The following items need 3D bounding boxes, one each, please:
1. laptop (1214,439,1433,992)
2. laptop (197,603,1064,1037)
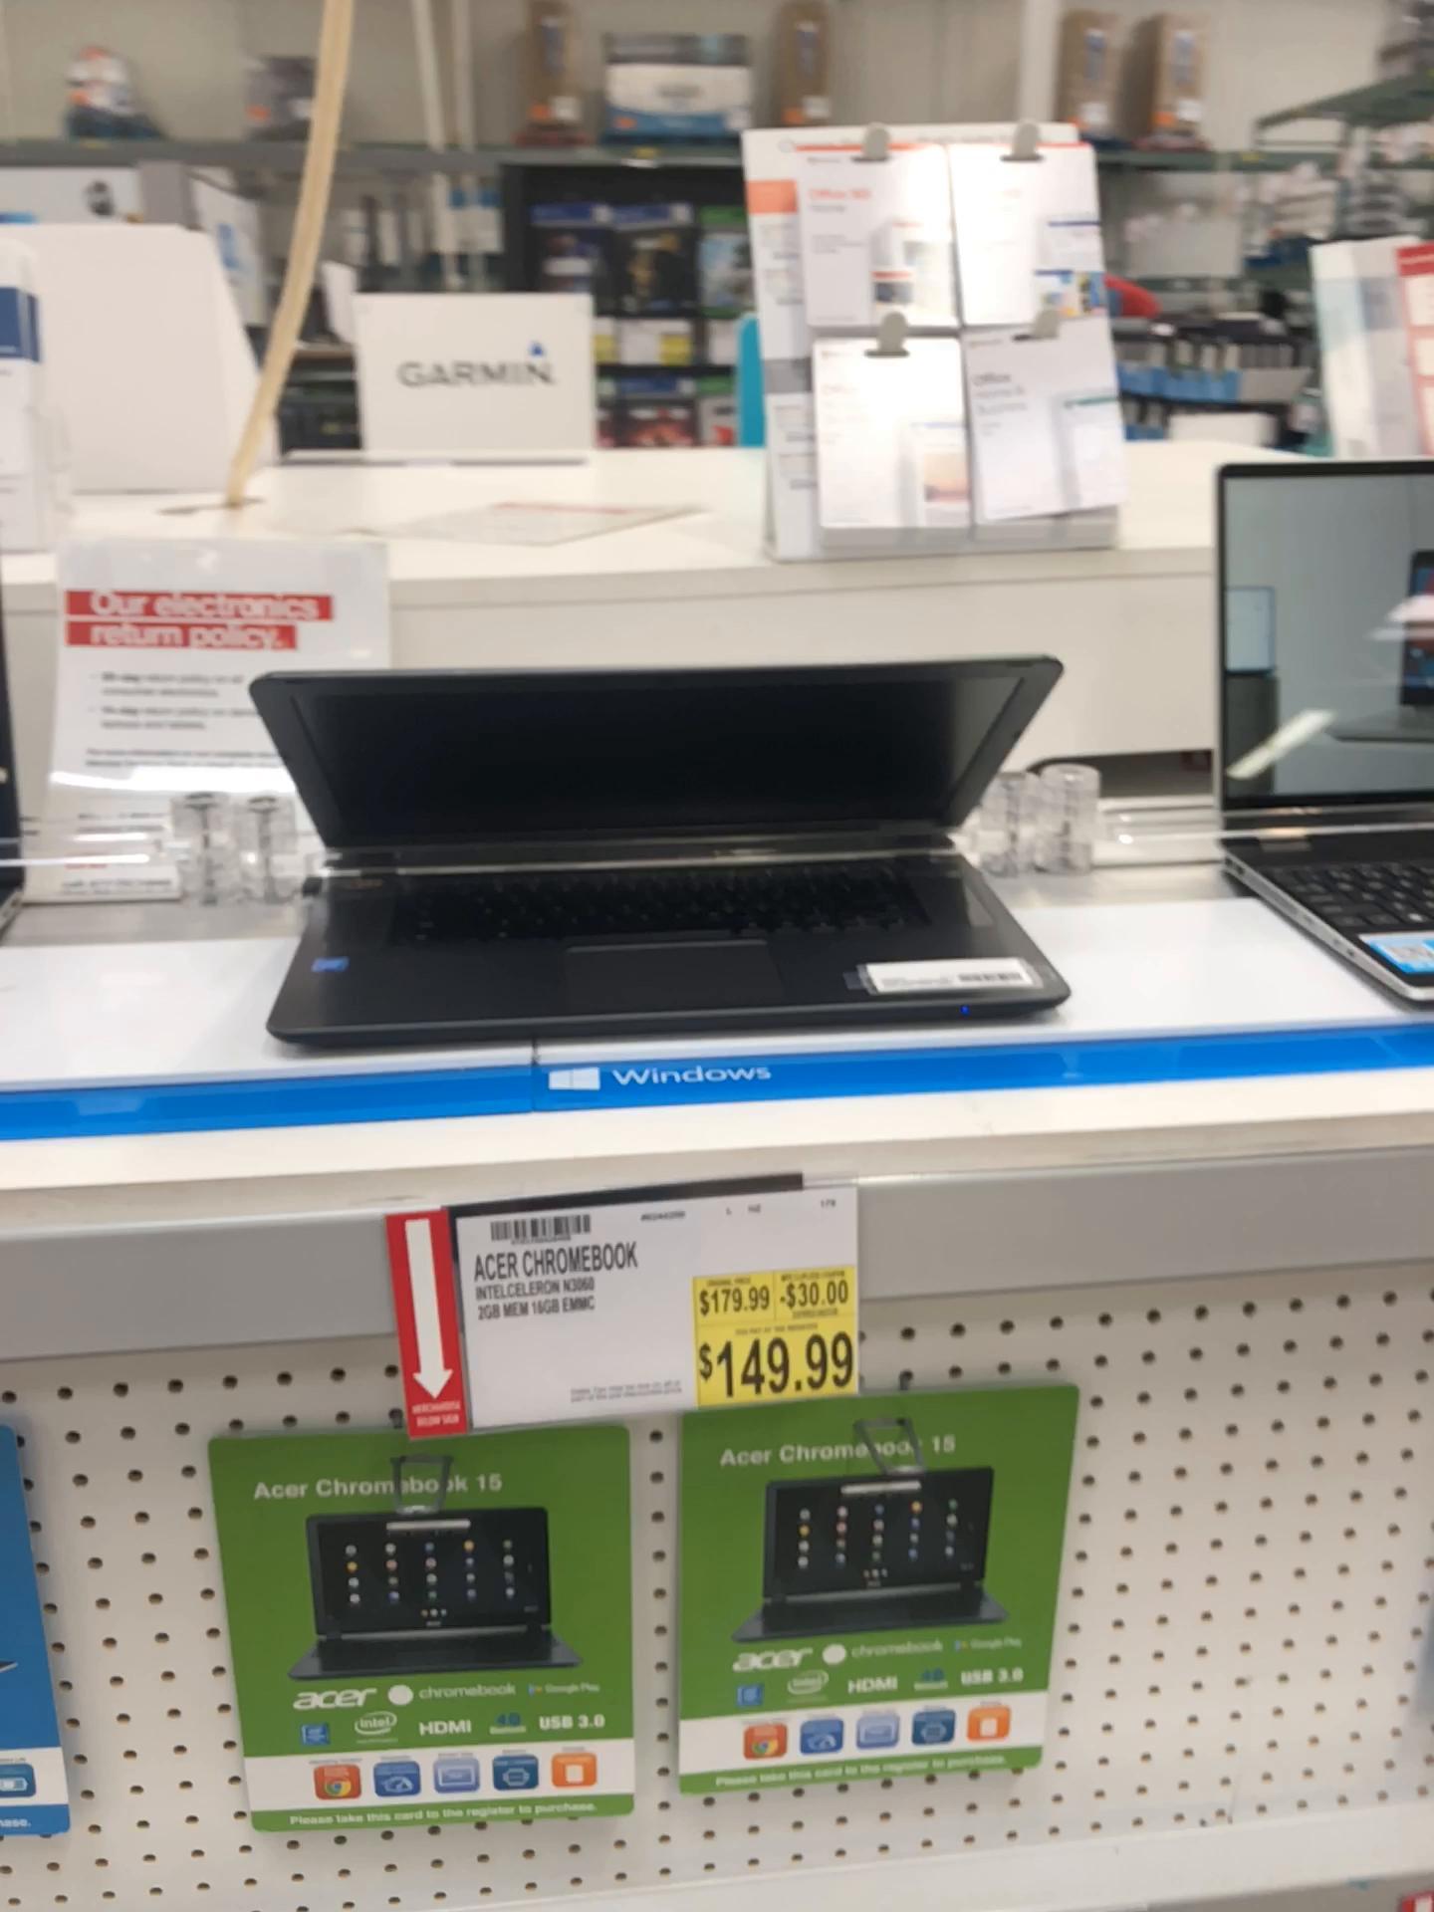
[{"bbox_3d":[0.472,-0.146,0.842,0.317,0.208,0.292,-3,21,0],"label":"laptop"},{"bbox_3d":[-0.042,-0.080,0.788,0.364,0.136,0.220,-3,23,-4],"label":"laptop"}]
